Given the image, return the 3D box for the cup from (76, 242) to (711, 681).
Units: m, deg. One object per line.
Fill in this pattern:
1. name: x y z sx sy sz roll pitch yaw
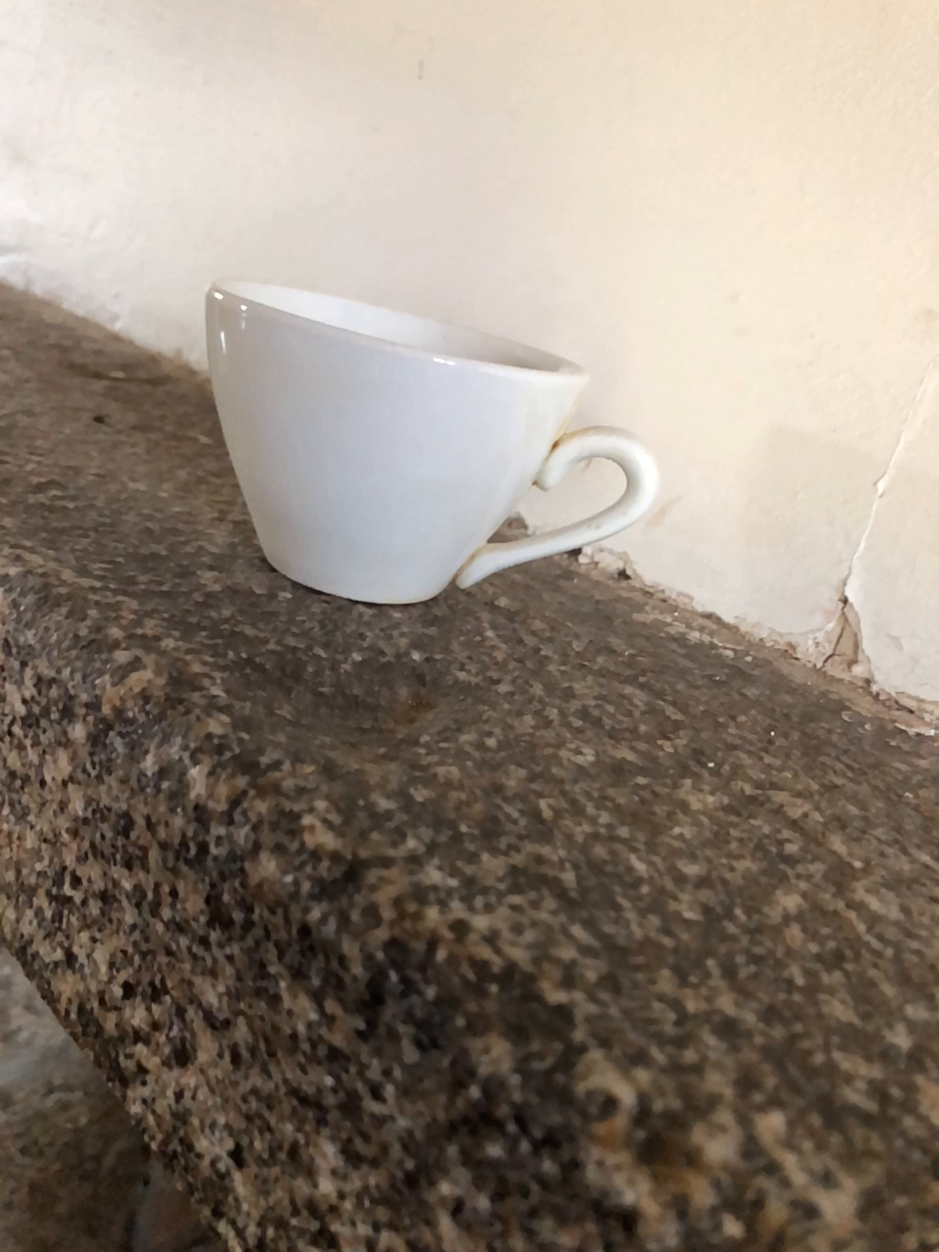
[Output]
1. cup: -0.010 -0.039 0.214 0.100 0.050 0.080 17 19 12
